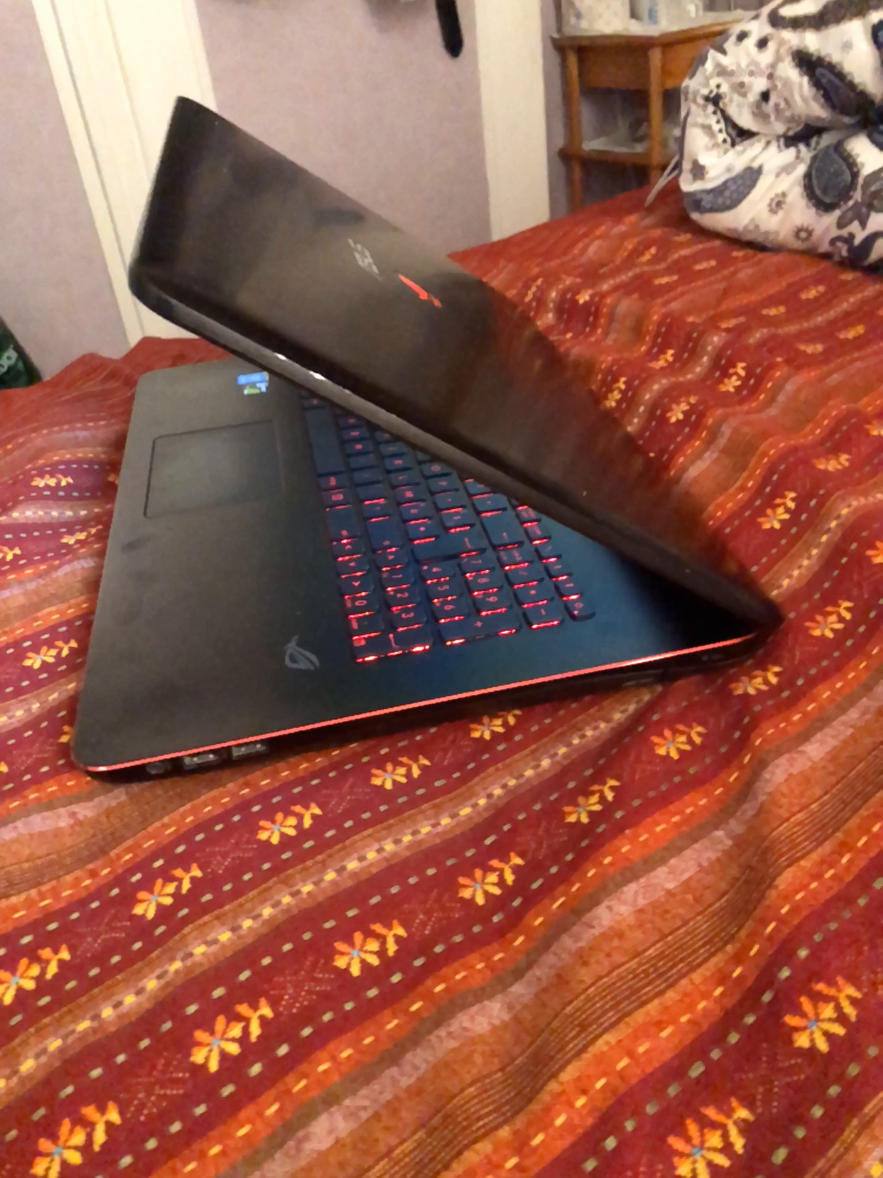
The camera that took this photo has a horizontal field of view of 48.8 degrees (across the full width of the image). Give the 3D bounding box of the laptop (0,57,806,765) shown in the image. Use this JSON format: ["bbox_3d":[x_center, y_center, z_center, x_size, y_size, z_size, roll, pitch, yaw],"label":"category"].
[{"bbox_3d":[-0.048,-0.138,0.490,0.267,0.168,0.400,-10,34,-6],"label":"laptop"}]
